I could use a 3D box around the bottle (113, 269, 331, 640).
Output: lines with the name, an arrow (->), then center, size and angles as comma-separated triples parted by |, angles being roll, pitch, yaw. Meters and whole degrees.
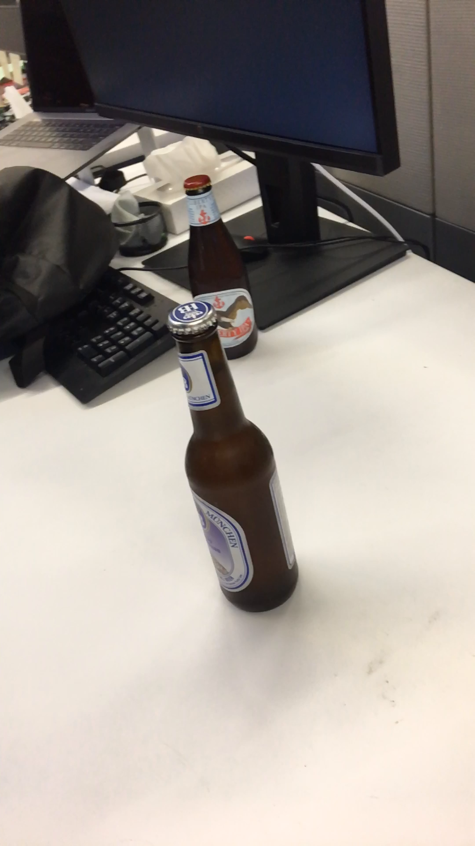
bottle -> -0.004, 0.029, 0.472 | 0.080, 0.230, 0.080 | -9, 36, 7
